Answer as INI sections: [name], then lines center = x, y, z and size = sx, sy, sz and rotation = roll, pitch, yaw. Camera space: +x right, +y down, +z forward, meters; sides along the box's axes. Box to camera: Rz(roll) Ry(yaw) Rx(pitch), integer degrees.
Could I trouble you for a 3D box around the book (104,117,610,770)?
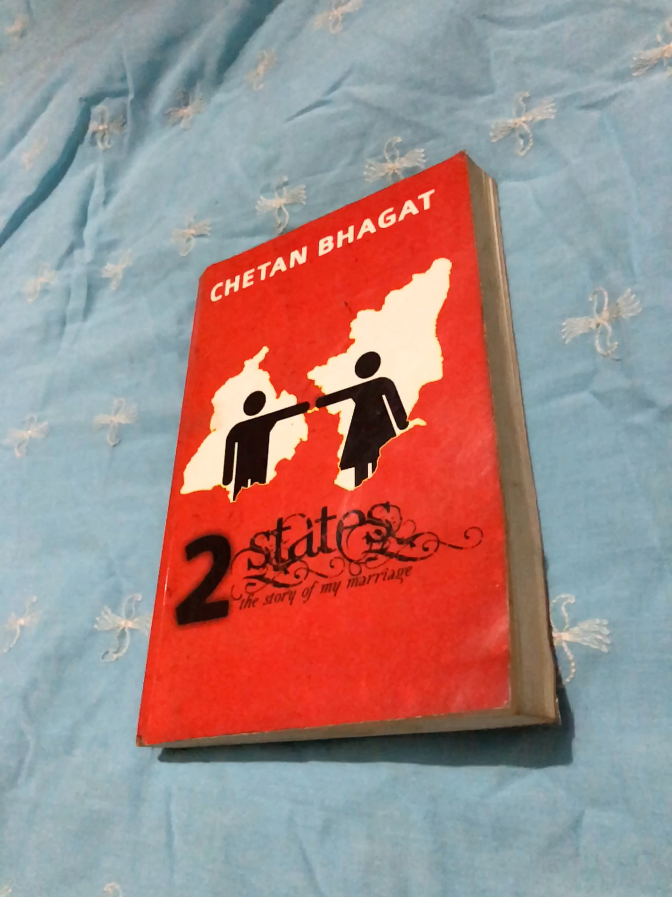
[book]
center = 0.000, -0.005, 0.254
size = 0.140, 0.030, 0.200
rotation = -16, 56, 26
